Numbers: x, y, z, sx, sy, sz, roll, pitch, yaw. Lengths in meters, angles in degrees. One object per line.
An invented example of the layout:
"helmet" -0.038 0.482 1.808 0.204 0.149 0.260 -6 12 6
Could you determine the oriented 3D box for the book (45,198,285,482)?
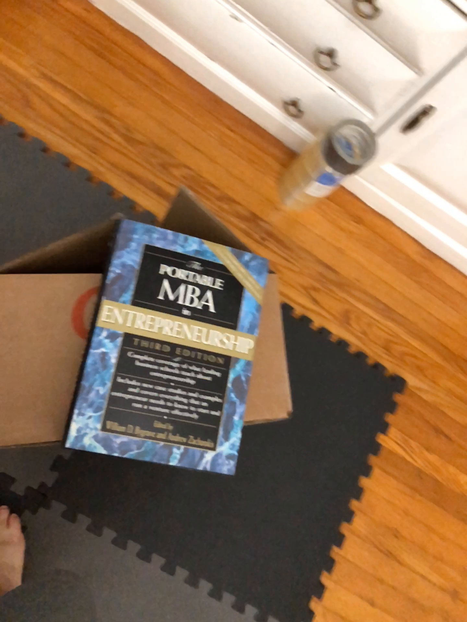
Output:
"book" -0.069 0.035 0.585 0.210 0.060 0.270 14 76 -15
